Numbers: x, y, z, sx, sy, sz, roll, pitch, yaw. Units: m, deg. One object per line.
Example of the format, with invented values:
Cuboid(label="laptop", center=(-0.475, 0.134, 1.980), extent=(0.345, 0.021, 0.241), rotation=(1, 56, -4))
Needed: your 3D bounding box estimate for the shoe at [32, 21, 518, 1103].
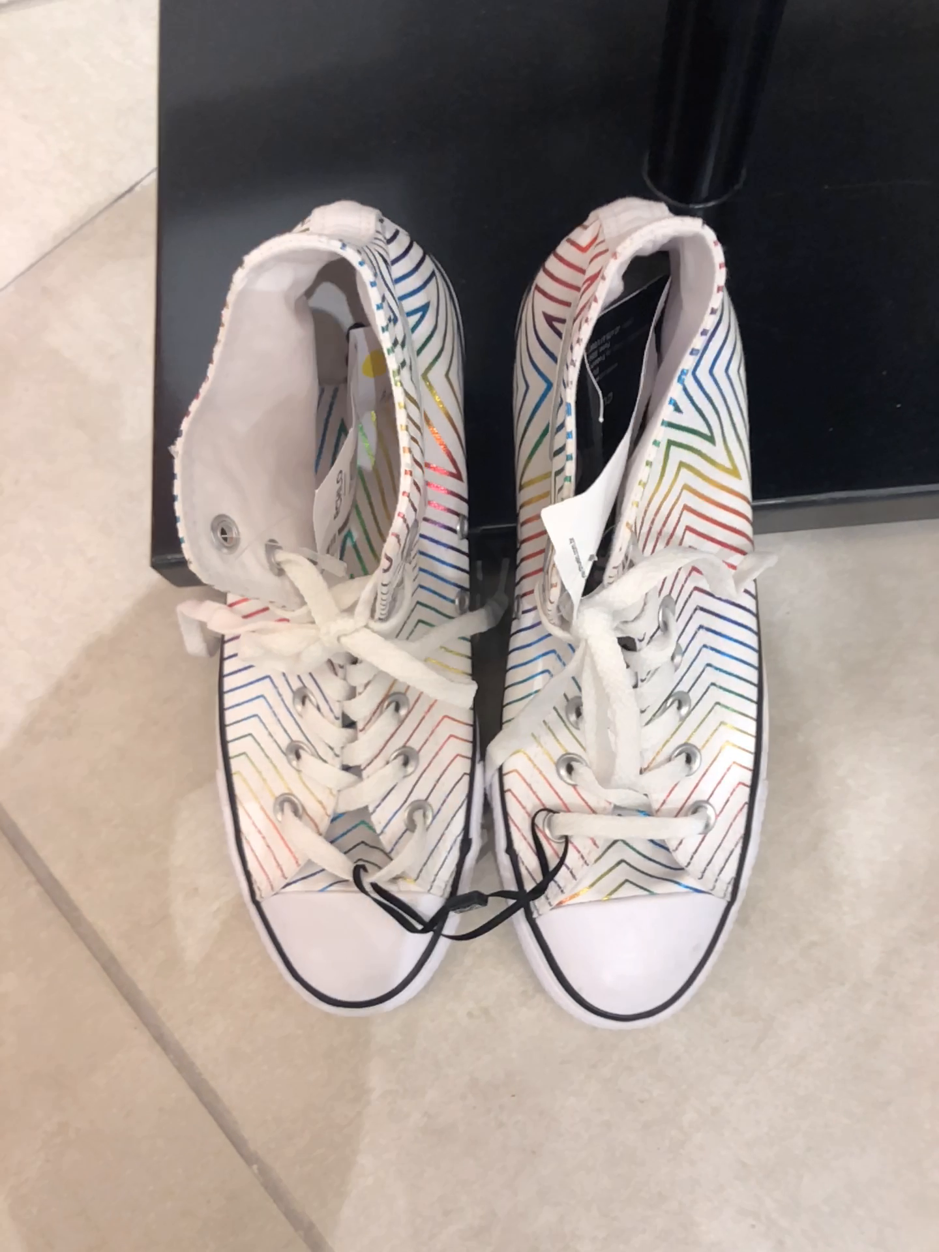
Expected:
Cuboid(label="shoe", center=(-0.051, -0.016, 0.364), extent=(0.120, 0.140, 0.300), rotation=(-2, 93, 4))

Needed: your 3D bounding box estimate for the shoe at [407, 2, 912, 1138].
Cuboid(label="shoe", center=(0.053, -0.014, 0.348), extent=(0.120, 0.140, 0.300), rotation=(-2, 86, 4))
